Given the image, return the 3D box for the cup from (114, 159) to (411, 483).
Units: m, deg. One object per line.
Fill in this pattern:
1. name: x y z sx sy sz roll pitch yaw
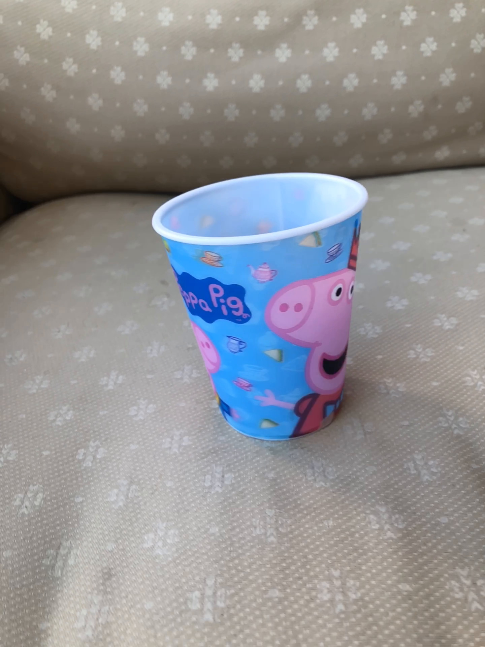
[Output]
1. cup: 0.012 -0.010 0.255 0.087 0.100 0.092 -3 32 2
